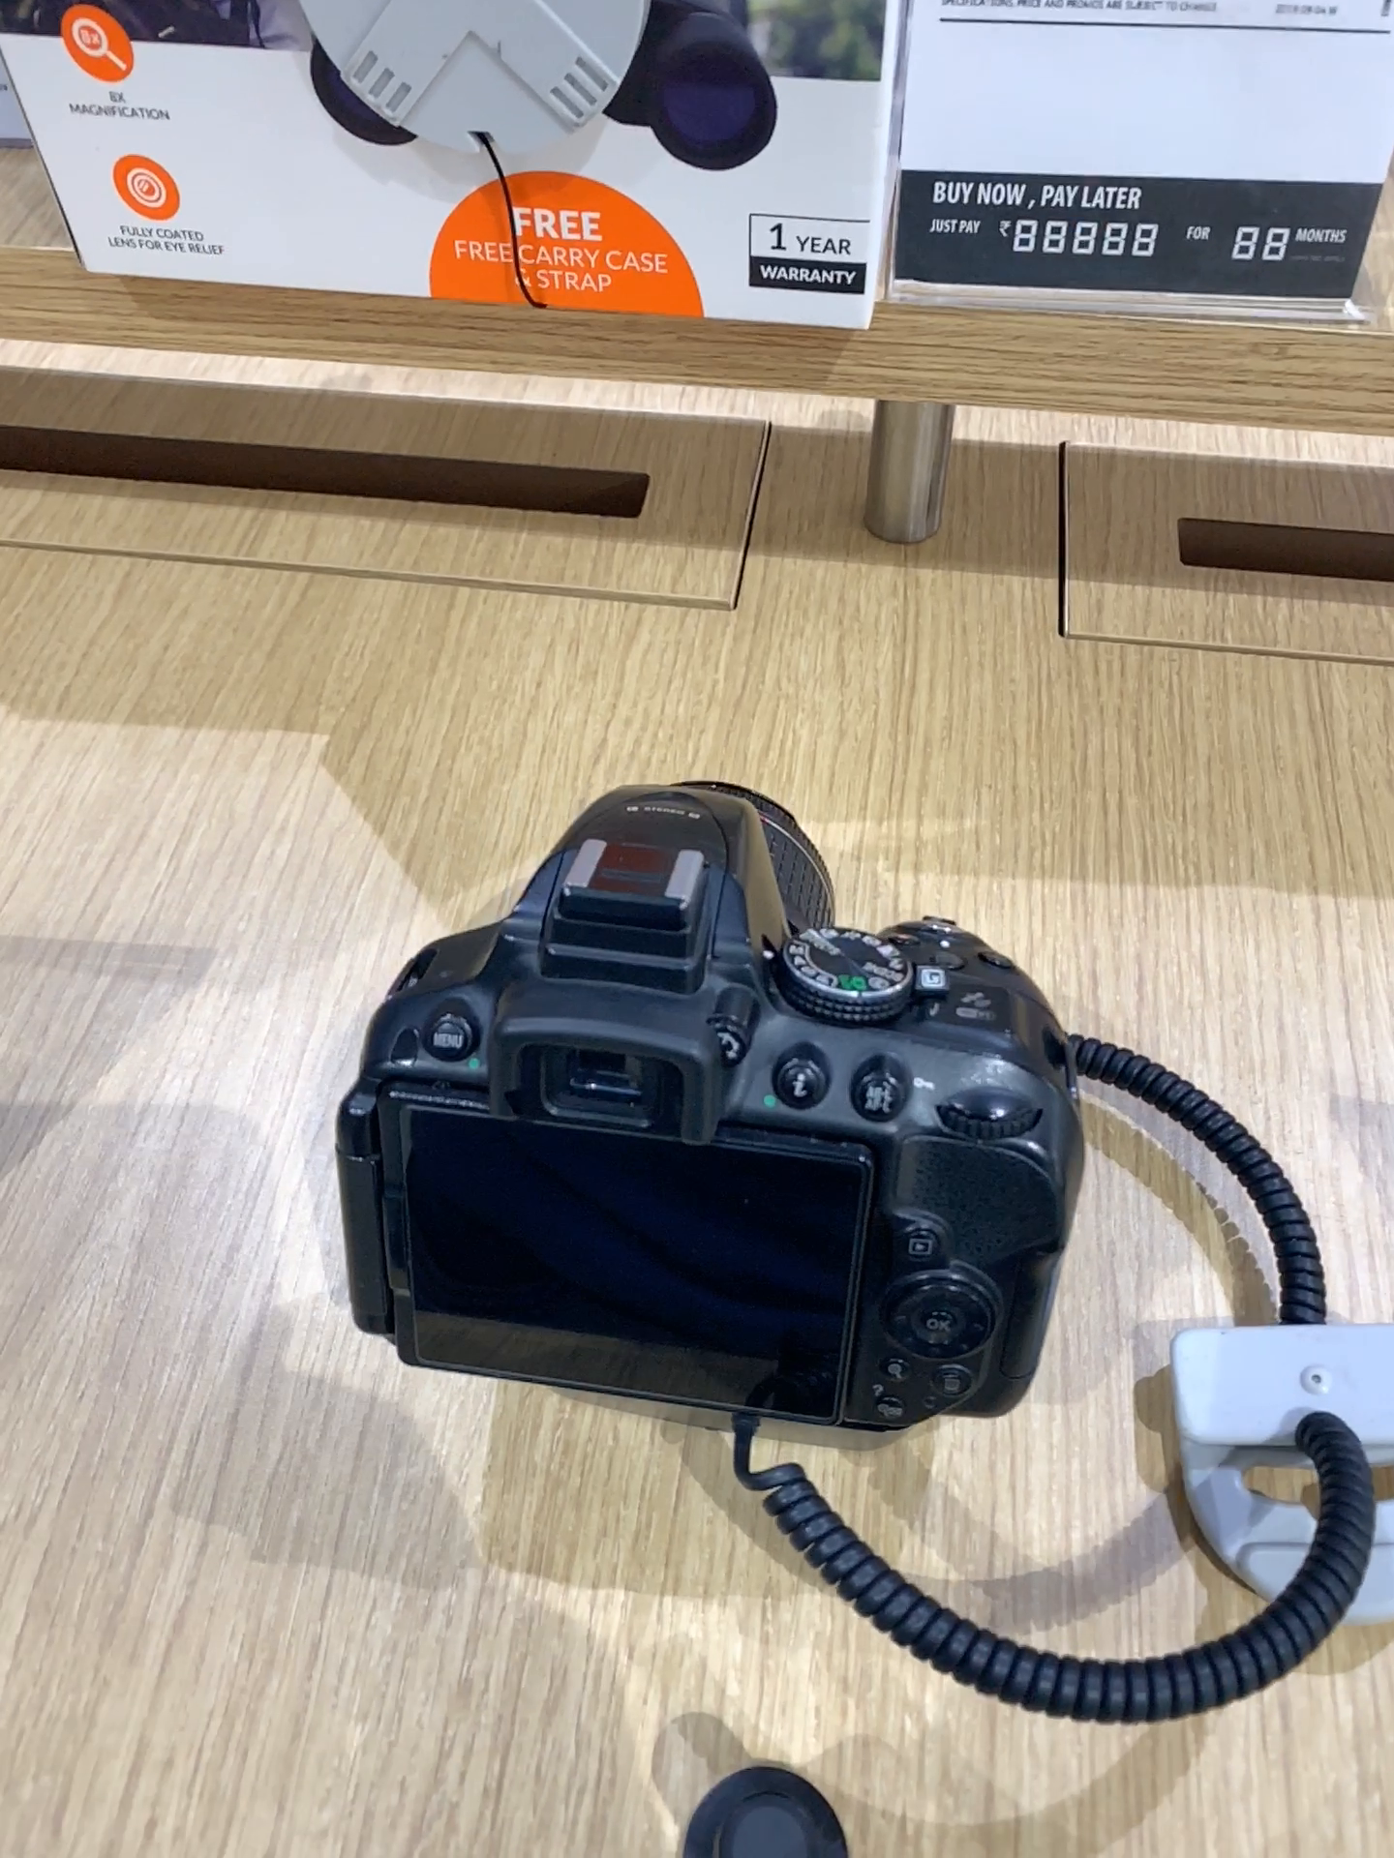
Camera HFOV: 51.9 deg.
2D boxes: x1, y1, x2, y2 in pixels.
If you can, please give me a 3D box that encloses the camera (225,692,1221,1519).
[{"bbox_3d":[0.007,0.021,0.252,0.130,0.080,0.110,6,31,6],"label":"camera"}]
